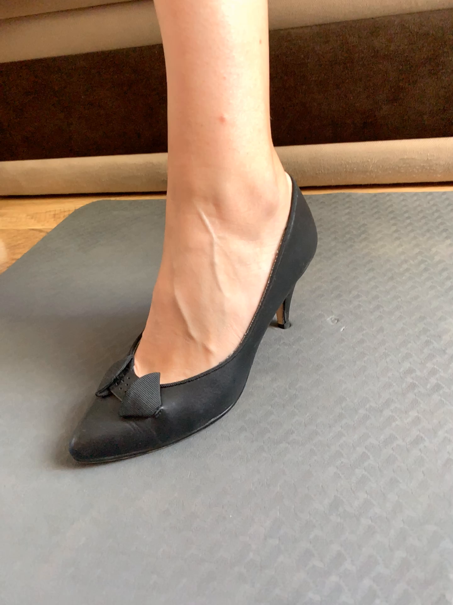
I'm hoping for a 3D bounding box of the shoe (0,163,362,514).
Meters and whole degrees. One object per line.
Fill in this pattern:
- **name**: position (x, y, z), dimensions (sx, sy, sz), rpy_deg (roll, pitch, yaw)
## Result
- **shoe**: position (-0.020, 0.001, 0.304), dimensions (0.230, 0.099, 0.090), rpy_deg (-32, 40, -30)
